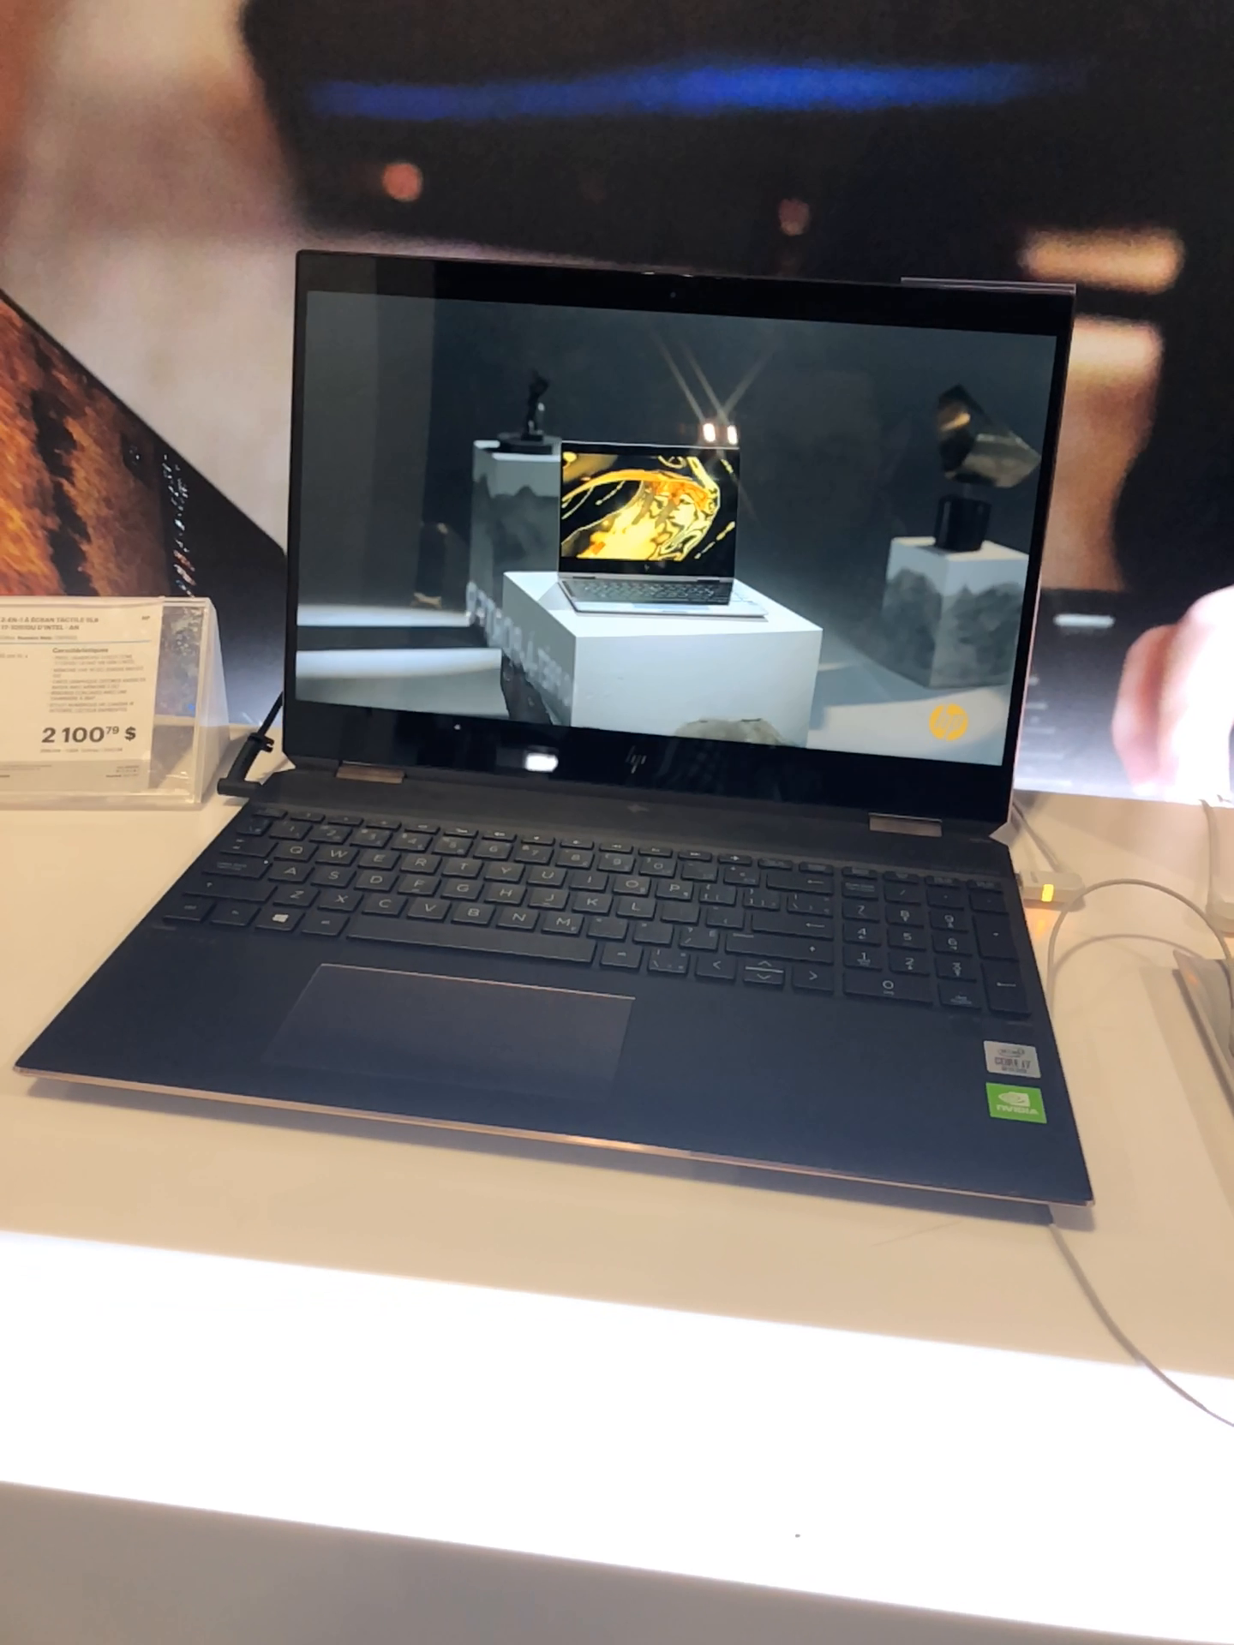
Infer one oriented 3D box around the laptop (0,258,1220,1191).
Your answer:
[{"bbox_3d":[-0.007,-0.074,0.528,0.332,0.226,0.323,6,26,4],"label":"laptop"}]
